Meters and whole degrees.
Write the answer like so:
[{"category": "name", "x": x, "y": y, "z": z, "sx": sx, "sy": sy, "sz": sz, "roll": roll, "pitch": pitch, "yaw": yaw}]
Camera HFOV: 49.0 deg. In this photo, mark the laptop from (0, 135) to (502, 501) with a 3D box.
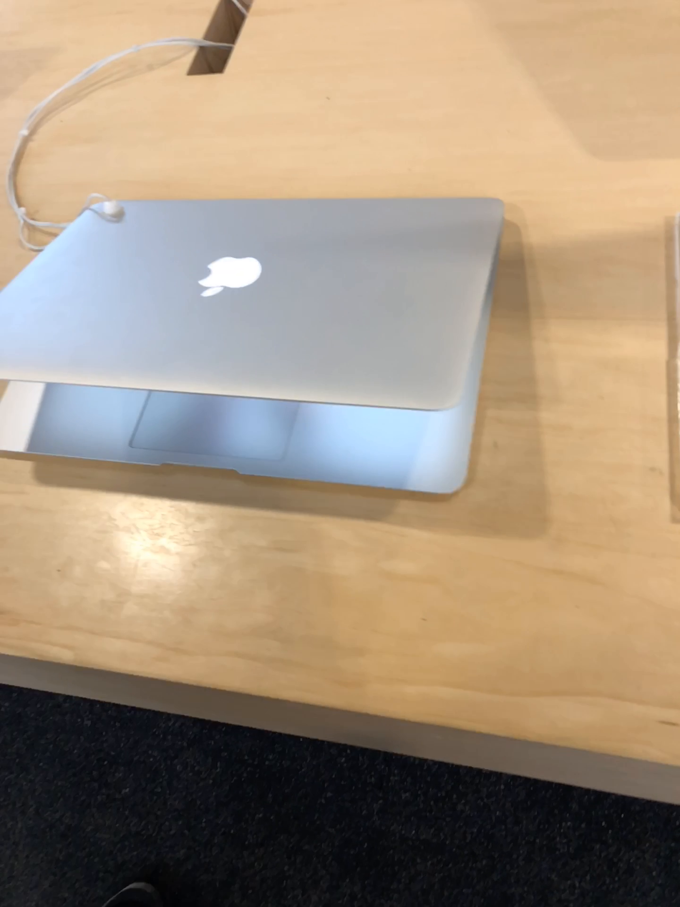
[{"category": "laptop", "x": -0.069, "y": -0.097, "z": 0.471, "sx": 0.315, "sy": 0.067, "sz": 0.215, "roll": 5, "pitch": 61, "yaw": 17}]
